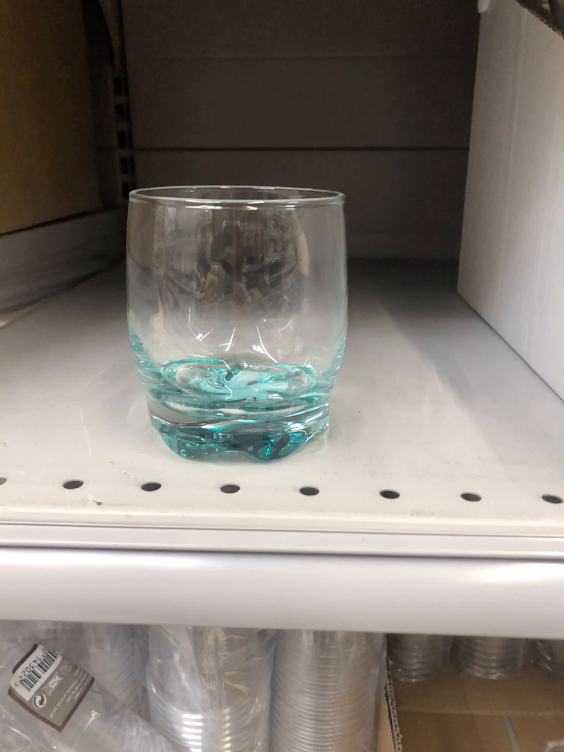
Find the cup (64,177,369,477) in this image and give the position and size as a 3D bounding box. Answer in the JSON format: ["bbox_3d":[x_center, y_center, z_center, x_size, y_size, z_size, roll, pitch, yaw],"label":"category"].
[{"bbox_3d":[-0.015,-0.023,0.218,0.082,0.082,0.075,4,20,8],"label":"cup"}]
